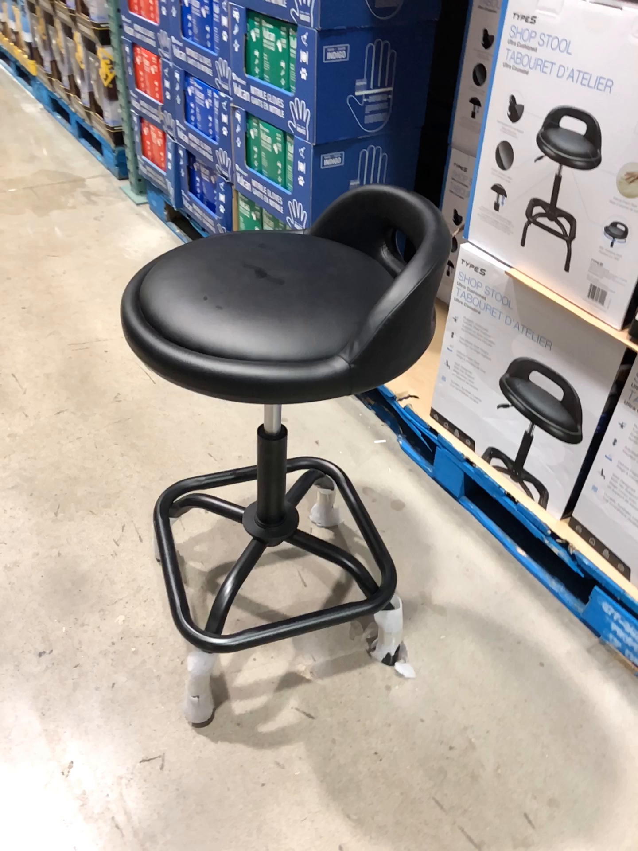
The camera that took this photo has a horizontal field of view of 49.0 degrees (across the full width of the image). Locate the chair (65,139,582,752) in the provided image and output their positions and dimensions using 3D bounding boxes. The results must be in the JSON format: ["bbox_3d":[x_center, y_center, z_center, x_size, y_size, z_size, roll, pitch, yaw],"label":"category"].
[{"bbox_3d":[-0.052,0.027,1.094,0.510,0.747,0.482,-10,41,-16],"label":"chair"}]
